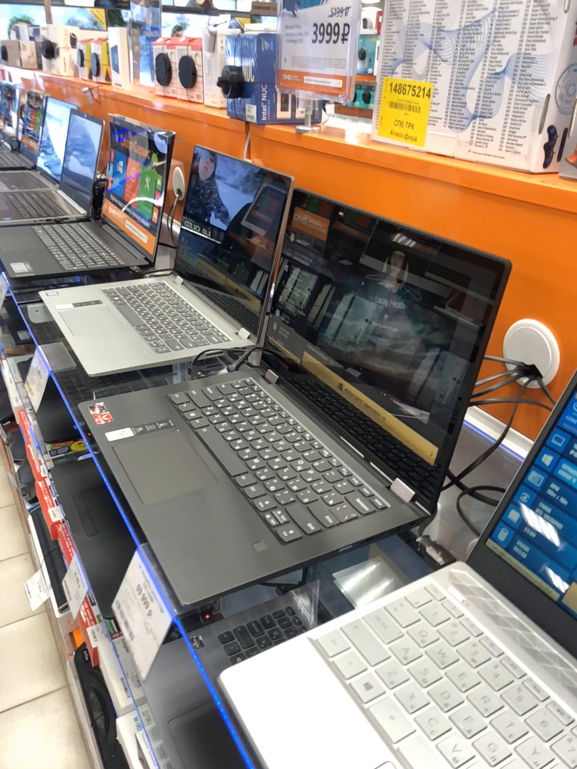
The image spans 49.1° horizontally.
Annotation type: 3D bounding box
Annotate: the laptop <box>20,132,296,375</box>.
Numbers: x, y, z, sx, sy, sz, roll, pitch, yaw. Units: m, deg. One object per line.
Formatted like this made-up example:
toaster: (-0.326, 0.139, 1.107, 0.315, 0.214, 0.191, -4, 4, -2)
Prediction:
laptop: (-0.186, -0.210, 0.896, 0.286, 0.202, 0.285, -17, 35, -28)

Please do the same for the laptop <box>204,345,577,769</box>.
laptop: (0.169, 0.140, 0.302, 0.310, 0.161, 0.317, -14, 30, -25)

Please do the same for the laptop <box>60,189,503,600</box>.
laptop: (-0.033, -0.034, 0.584, 0.255, 0.215, 0.321, -12, 30, -26)
